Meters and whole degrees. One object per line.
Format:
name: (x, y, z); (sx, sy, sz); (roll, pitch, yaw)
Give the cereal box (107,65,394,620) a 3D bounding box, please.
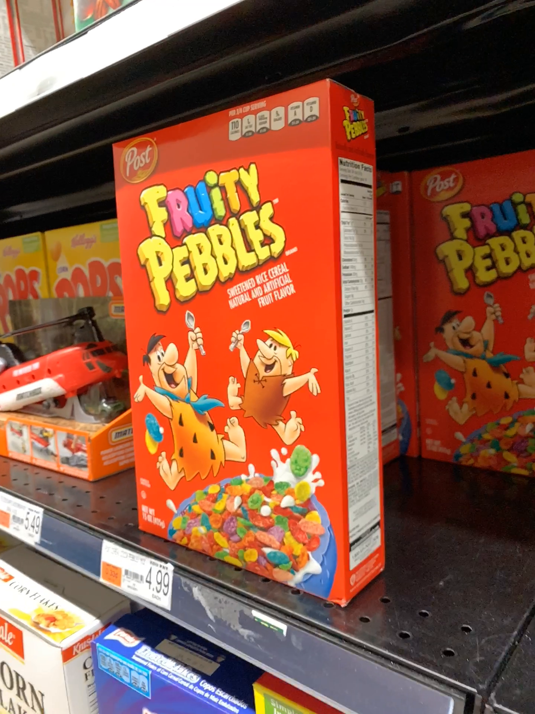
cereal box: (-0.018, -0.008, 0.394); (0.200, 0.309, 0.060); (3, 9, 40)
